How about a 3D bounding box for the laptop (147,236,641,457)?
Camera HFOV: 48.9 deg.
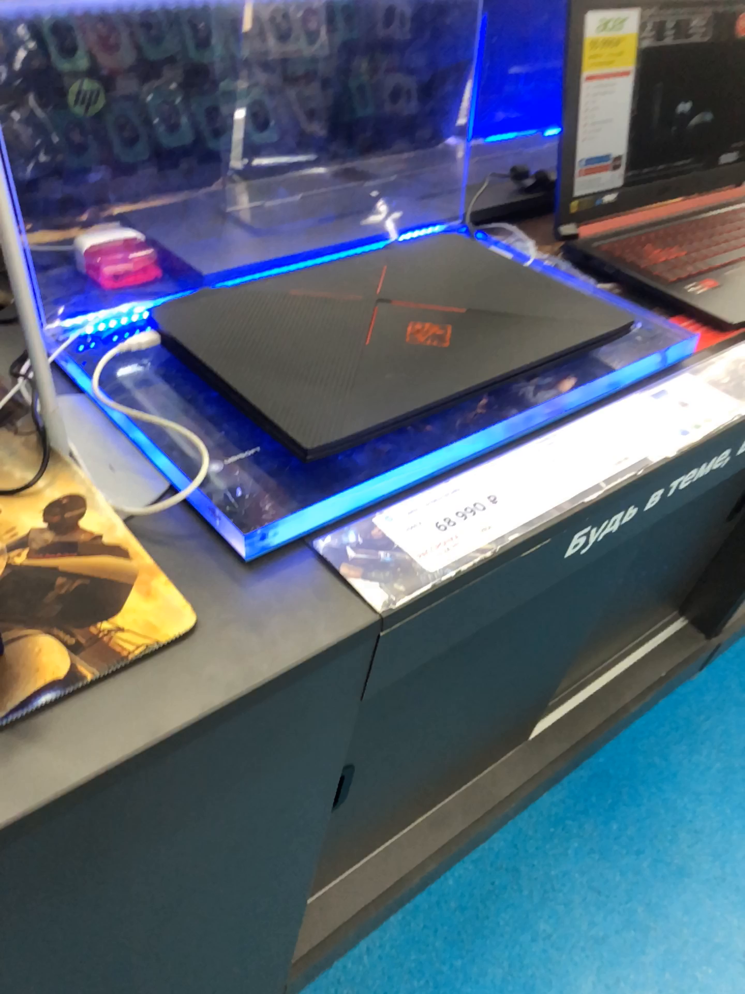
[{"bbox_3d":[0.023,-0.151,0.707,0.350,0.003,0.237,-24,46,-30],"label":"laptop"}]
